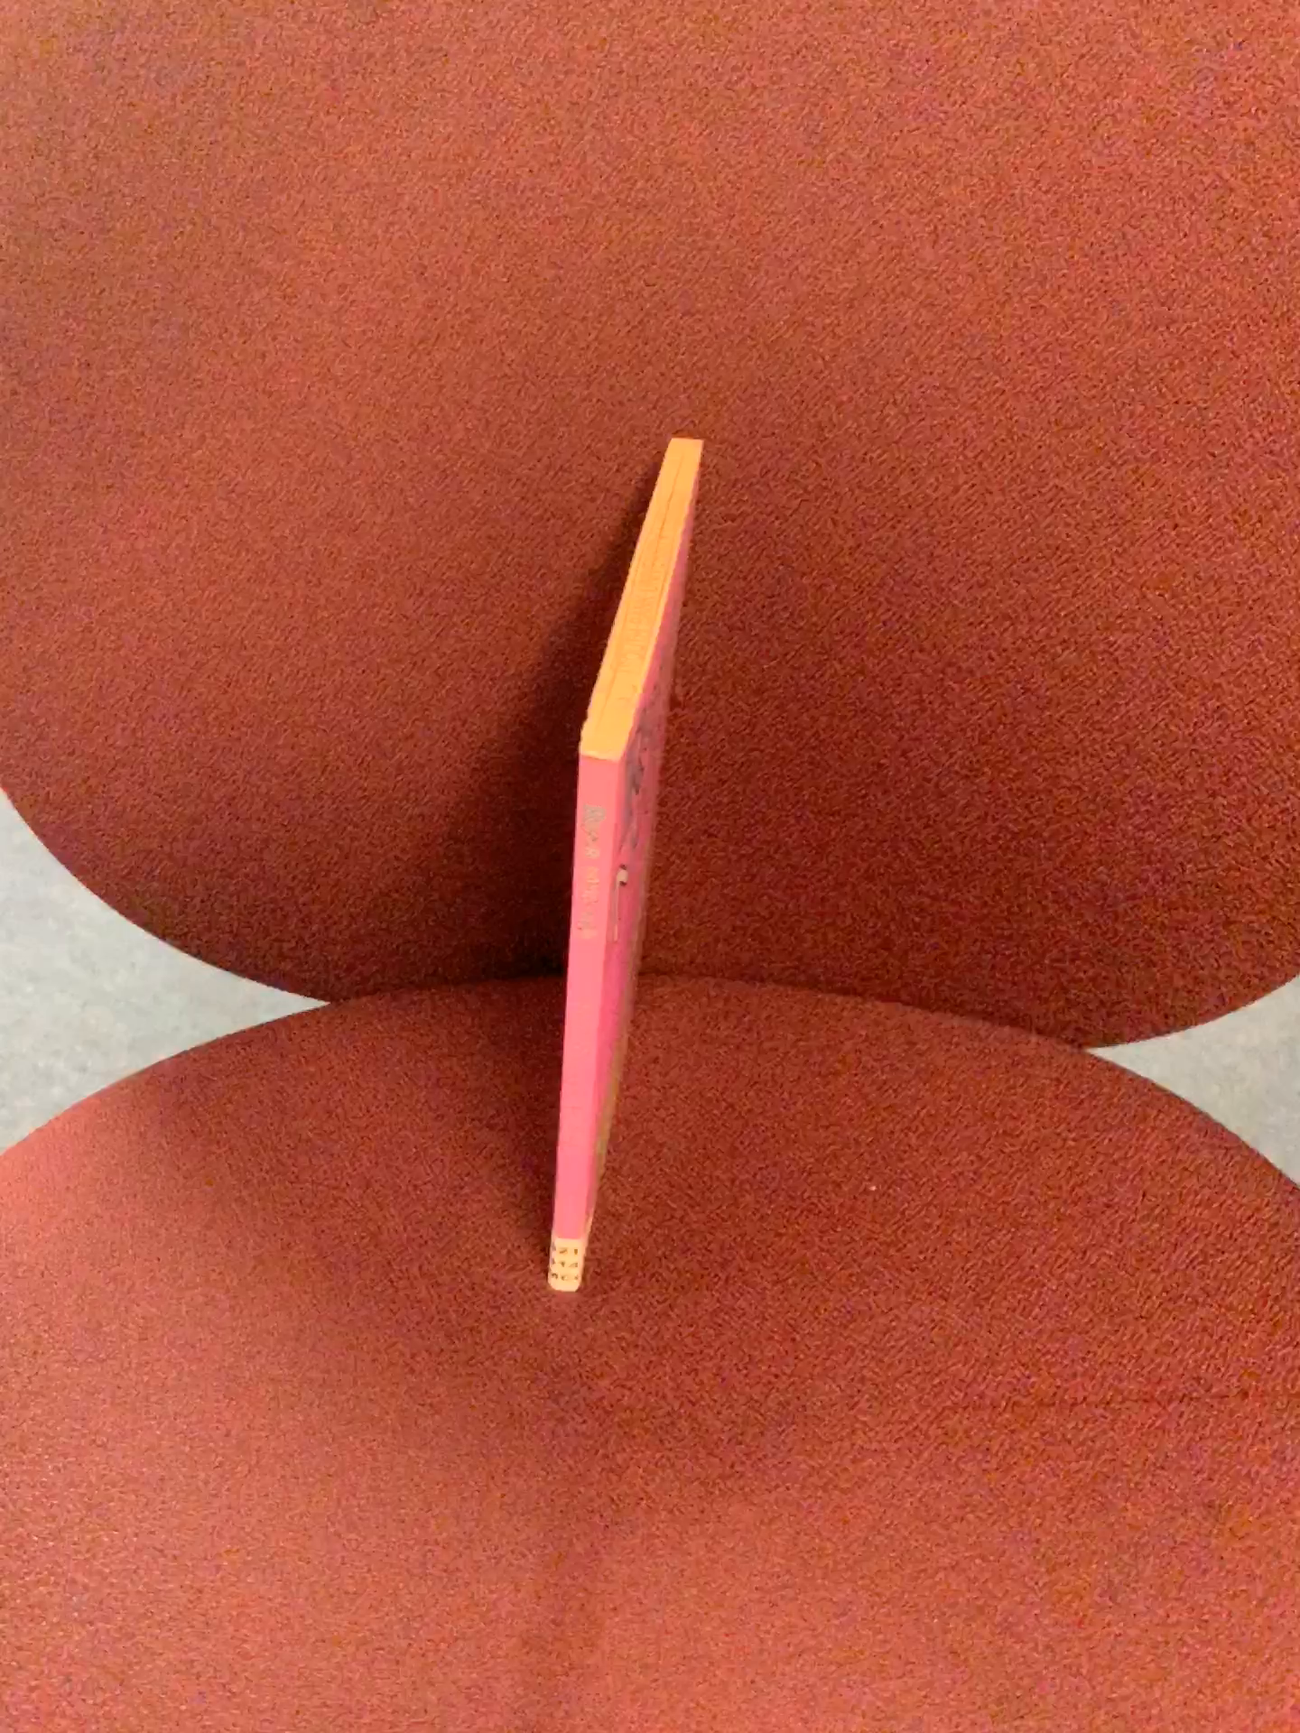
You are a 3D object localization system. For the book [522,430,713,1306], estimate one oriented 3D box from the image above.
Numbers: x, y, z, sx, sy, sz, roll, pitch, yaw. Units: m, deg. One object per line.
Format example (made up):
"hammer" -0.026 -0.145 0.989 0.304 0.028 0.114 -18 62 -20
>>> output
"book" -0.010 0.003 0.361 0.017 0.189 0.142 9 42 3
